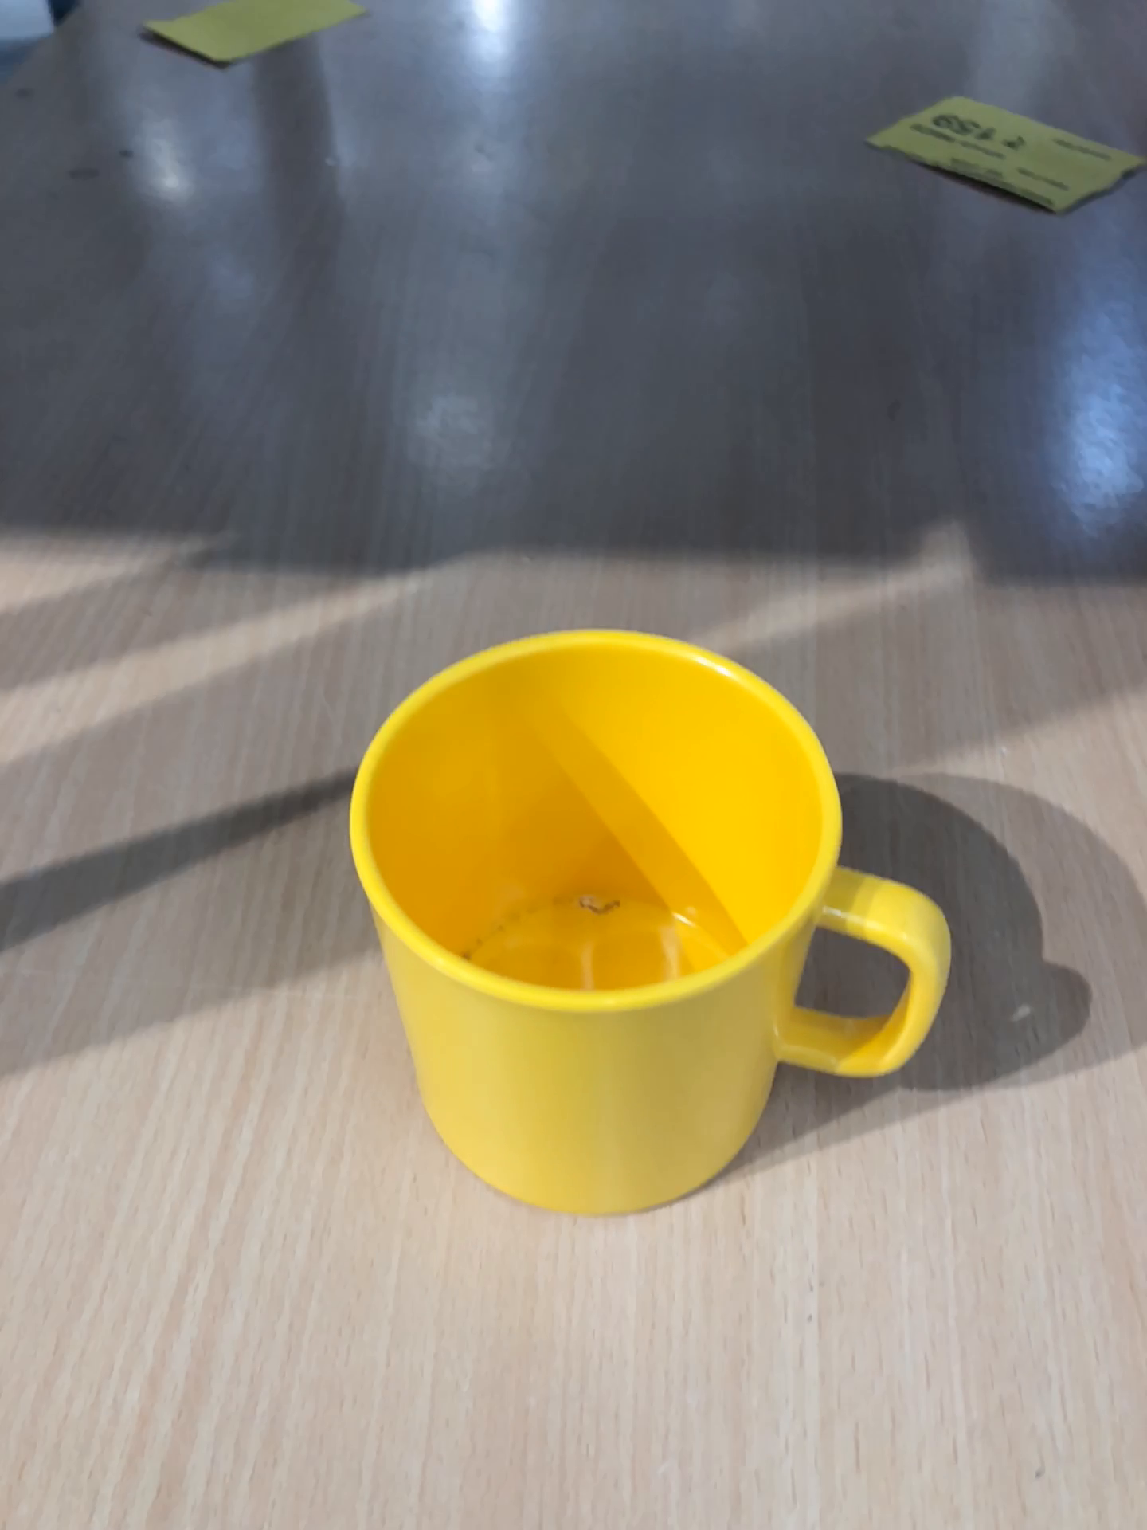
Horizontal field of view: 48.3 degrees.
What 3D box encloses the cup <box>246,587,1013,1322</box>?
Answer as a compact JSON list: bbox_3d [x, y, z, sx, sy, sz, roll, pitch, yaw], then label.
[{"bbox_3d":[0.015,0.035,0.244,0.110,0.089,0.081,11,49,11],"label":"cup"}]
